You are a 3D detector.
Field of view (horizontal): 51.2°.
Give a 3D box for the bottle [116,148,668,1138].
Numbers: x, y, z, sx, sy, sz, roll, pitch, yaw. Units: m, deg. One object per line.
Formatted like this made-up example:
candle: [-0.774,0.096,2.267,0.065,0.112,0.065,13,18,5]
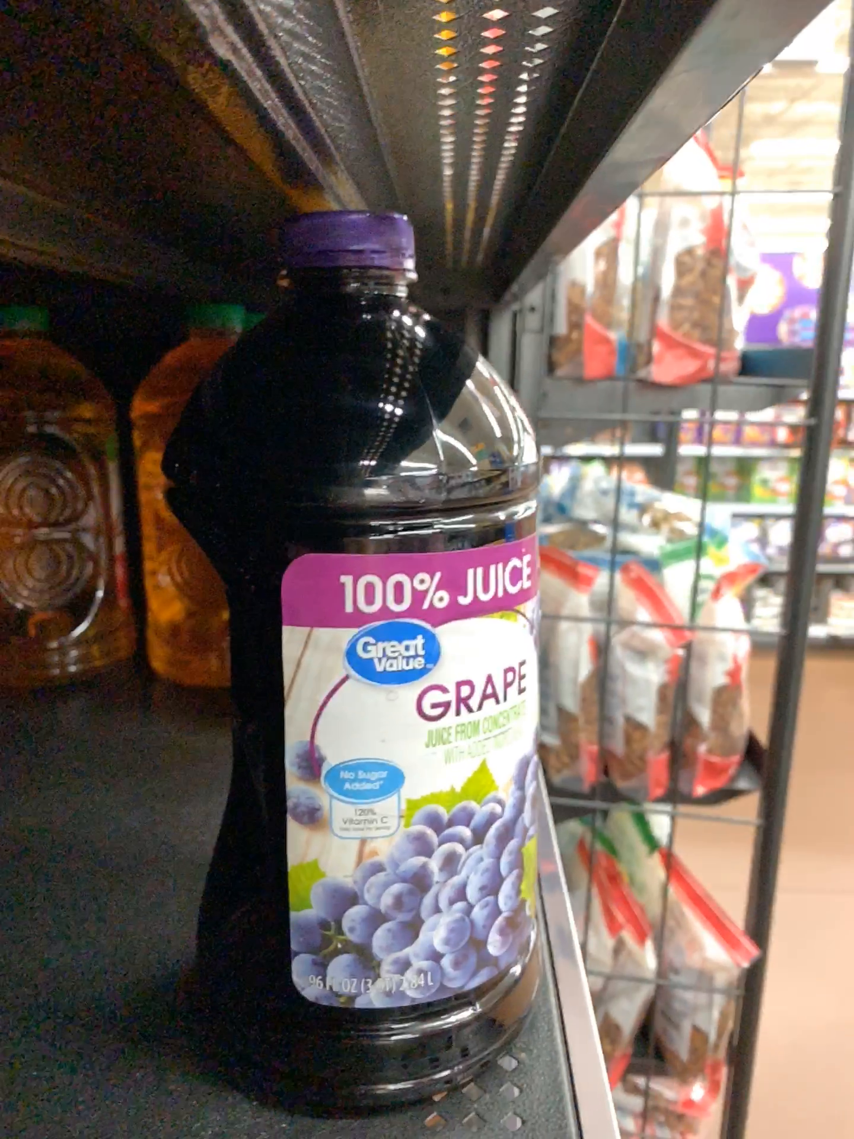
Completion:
bottle: [-0.022,0.022,0.317,0.130,0.279,0.140,1,12,0]
